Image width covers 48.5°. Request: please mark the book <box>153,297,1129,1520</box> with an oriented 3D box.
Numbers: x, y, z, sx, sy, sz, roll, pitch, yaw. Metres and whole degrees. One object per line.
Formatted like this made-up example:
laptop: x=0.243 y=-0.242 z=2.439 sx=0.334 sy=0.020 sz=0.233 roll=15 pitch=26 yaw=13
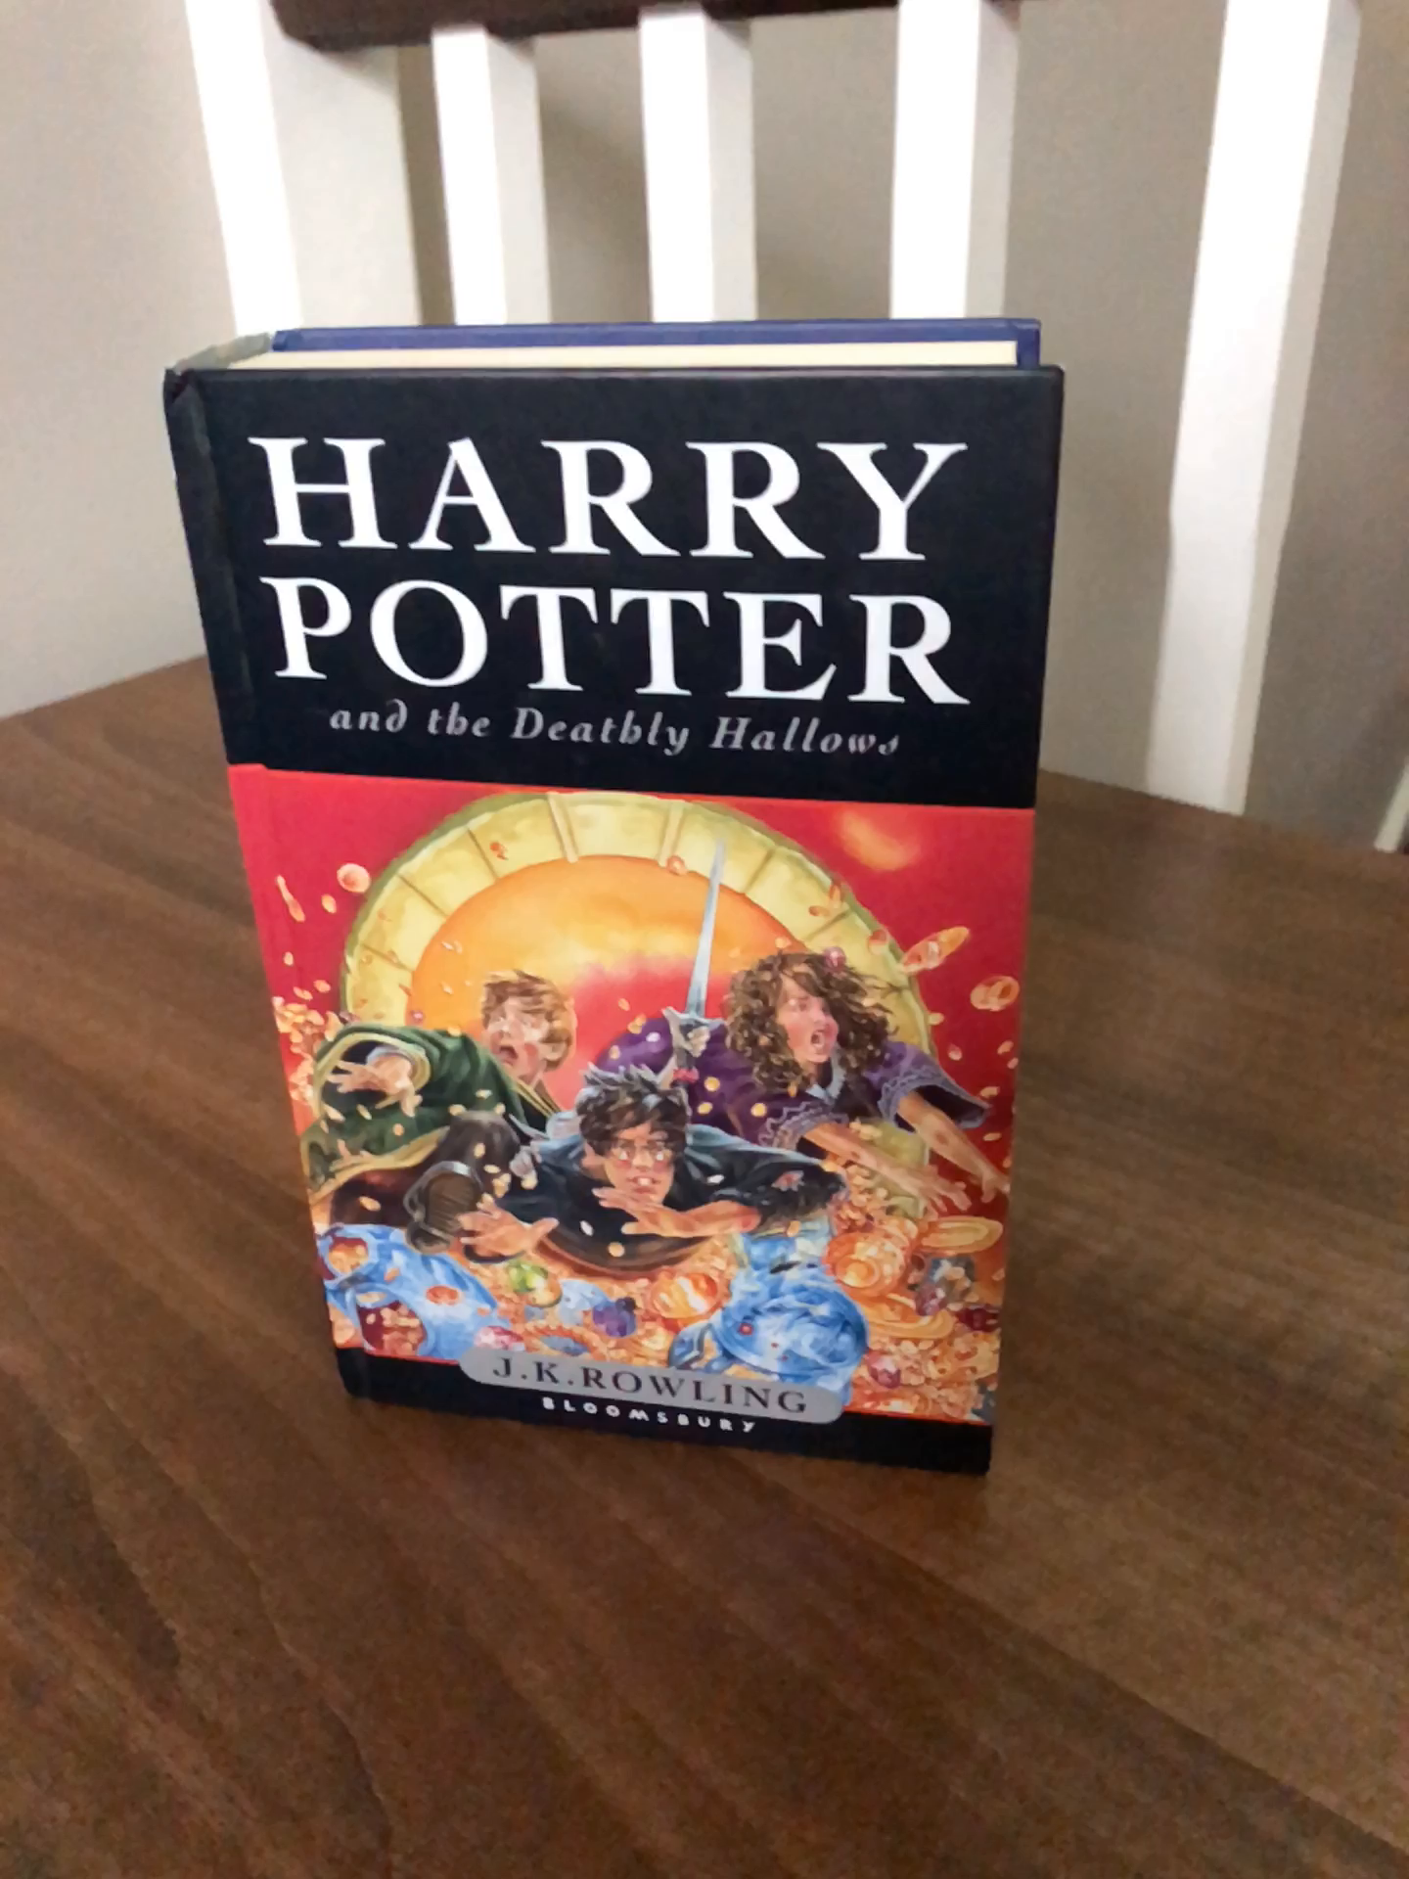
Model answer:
book: x=-0.004 y=-0.003 z=0.289 sx=0.140 sy=0.209 sz=0.060 roll=4 pitch=26 yaw=12
